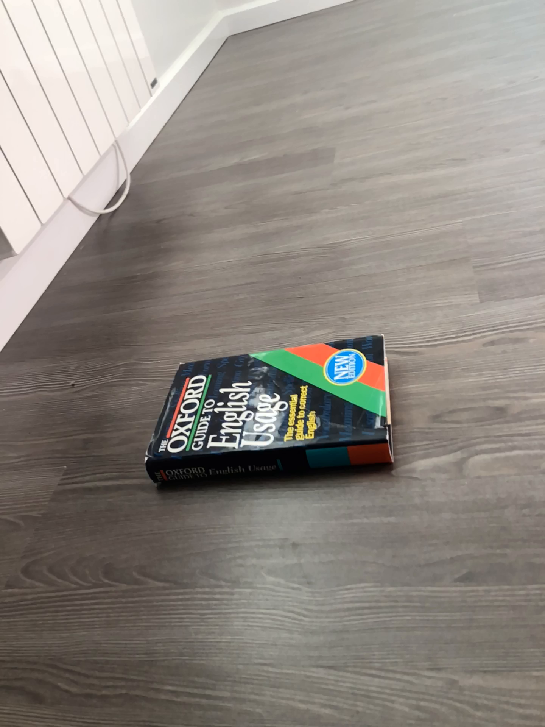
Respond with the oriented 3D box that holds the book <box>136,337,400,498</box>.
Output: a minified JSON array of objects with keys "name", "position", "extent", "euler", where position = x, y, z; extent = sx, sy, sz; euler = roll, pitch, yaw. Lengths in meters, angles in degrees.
[{"name":"book","position":[0.001,0.049,0.575],"extent":[0.229,0.035,0.151],"euler":[-8,38,15]}]
